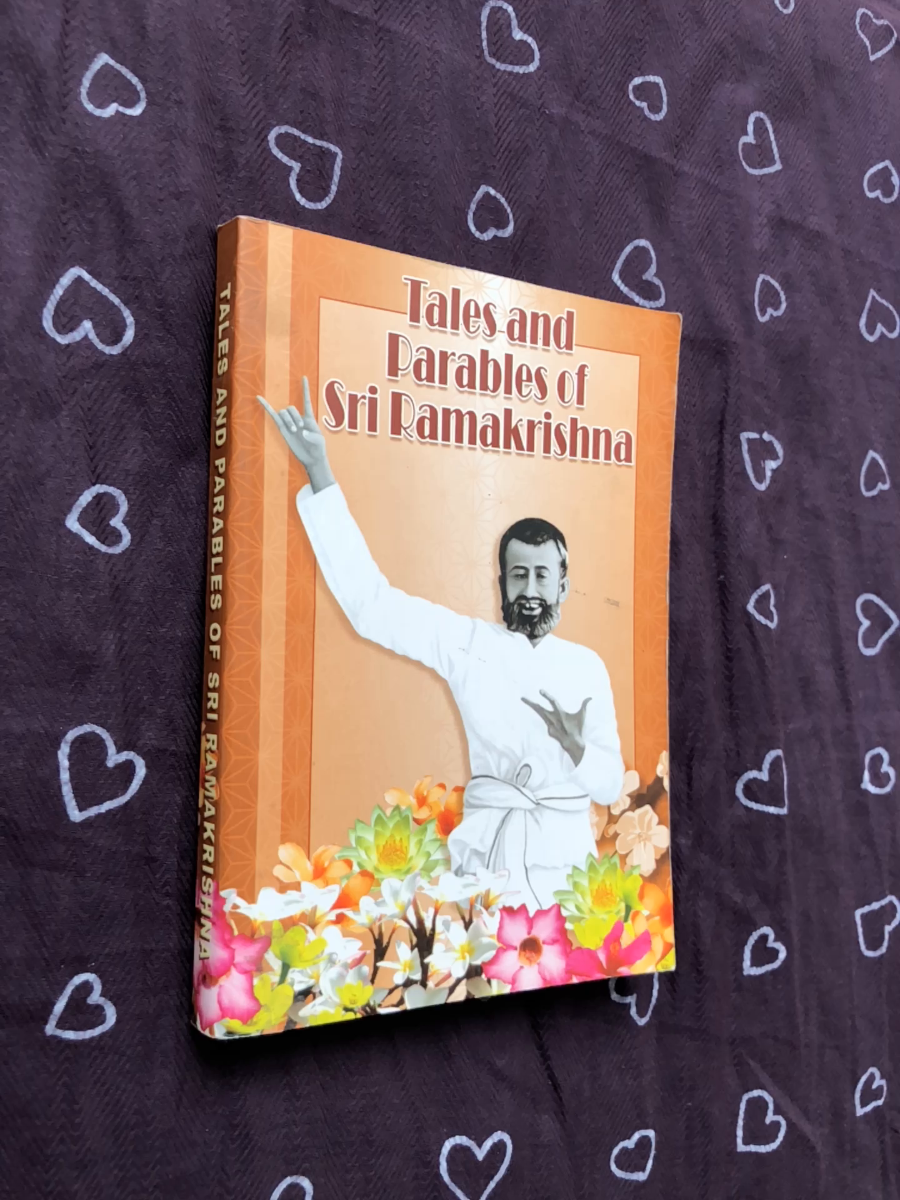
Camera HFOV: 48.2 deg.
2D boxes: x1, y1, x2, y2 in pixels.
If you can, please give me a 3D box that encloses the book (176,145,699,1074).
[{"bbox_3d":[0.004,0.003,0.245,0.130,0.020,0.190,3,86,-29],"label":"book"}]
